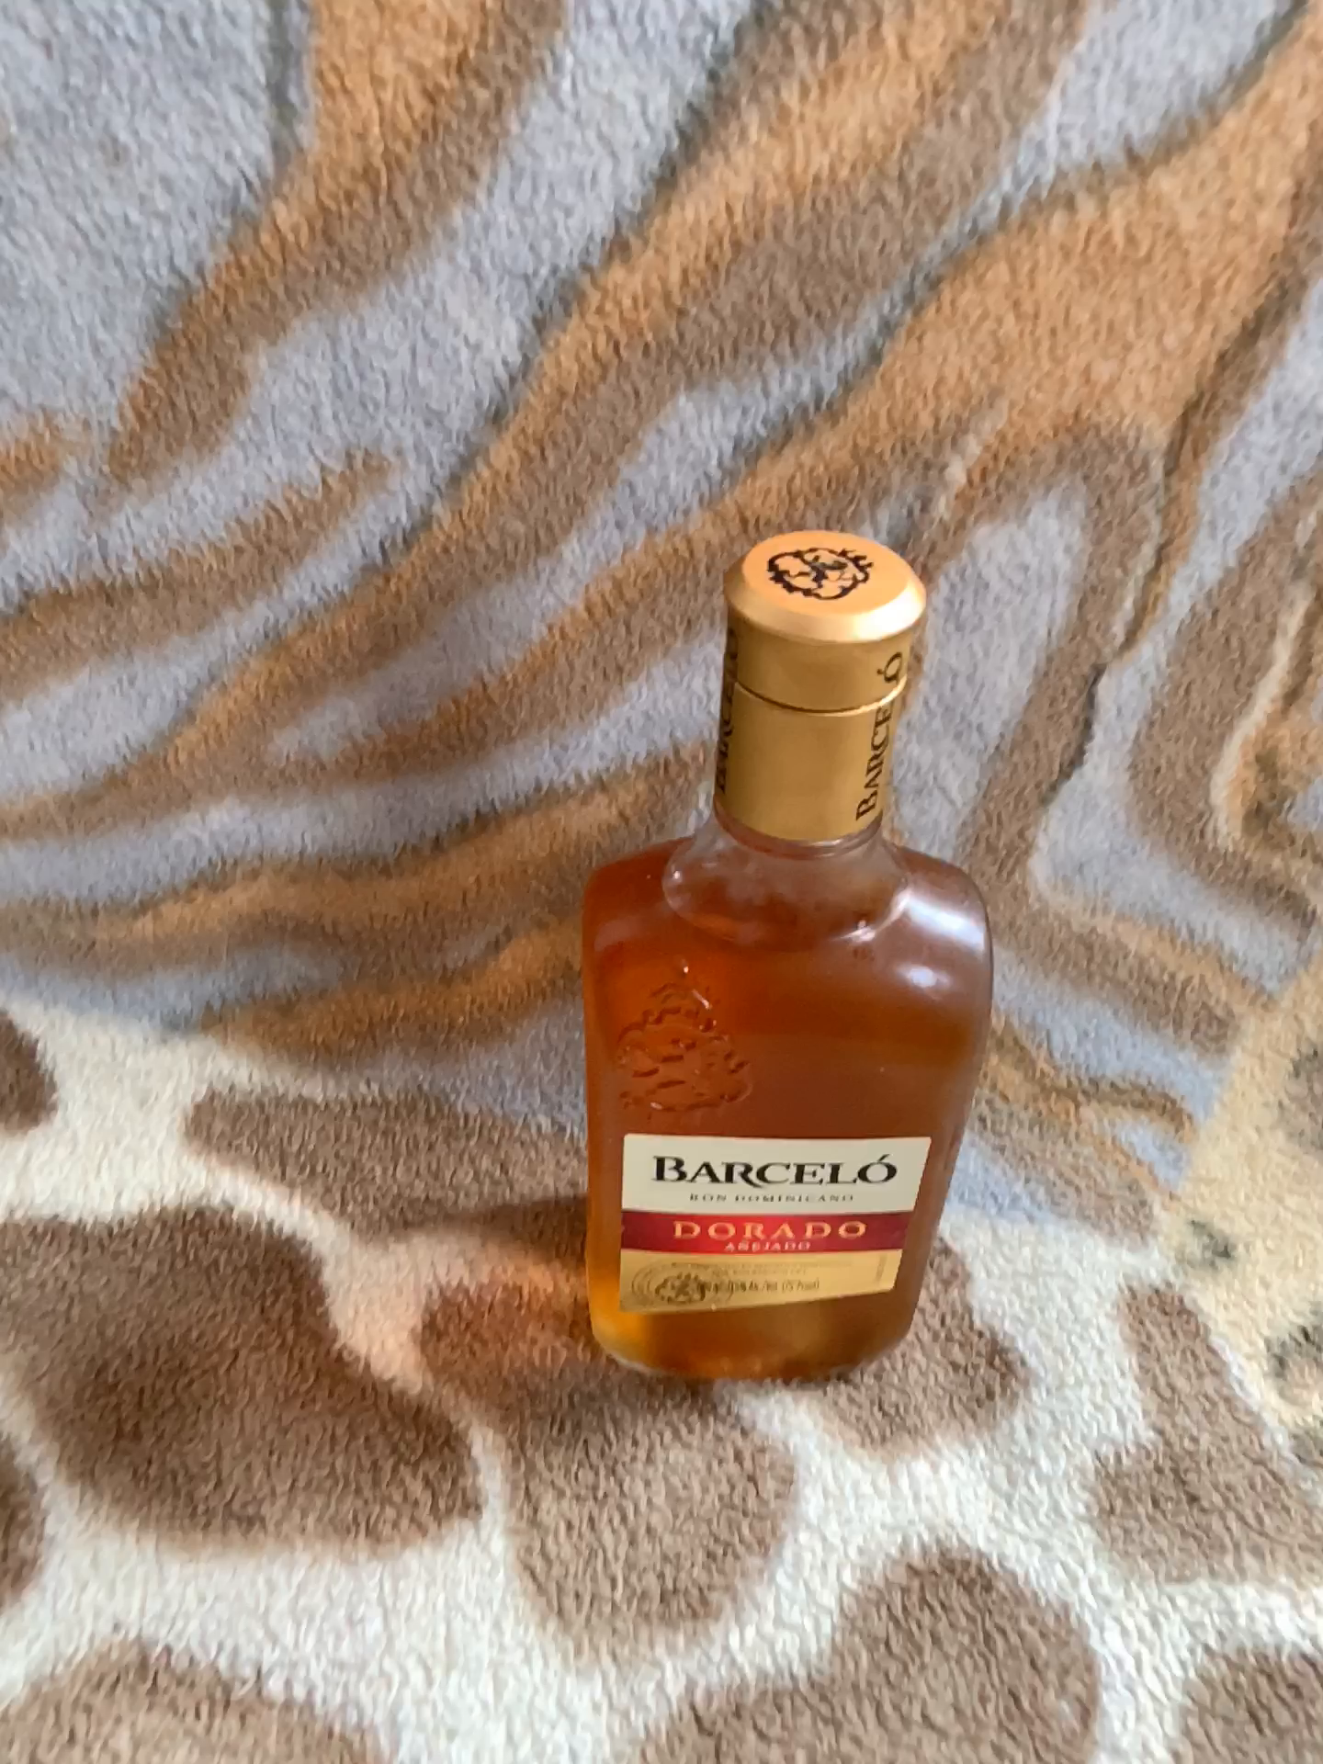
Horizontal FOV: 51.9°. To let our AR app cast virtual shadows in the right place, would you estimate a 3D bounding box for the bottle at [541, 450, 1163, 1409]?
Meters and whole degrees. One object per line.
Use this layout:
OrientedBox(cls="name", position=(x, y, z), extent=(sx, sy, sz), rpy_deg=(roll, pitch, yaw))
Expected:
OrientedBox(cls="bottle", position=(0.023, 0.026, 0.296), extent=(0.090, 0.218, 0.071), rpy_deg=(-2, 43, -5))
